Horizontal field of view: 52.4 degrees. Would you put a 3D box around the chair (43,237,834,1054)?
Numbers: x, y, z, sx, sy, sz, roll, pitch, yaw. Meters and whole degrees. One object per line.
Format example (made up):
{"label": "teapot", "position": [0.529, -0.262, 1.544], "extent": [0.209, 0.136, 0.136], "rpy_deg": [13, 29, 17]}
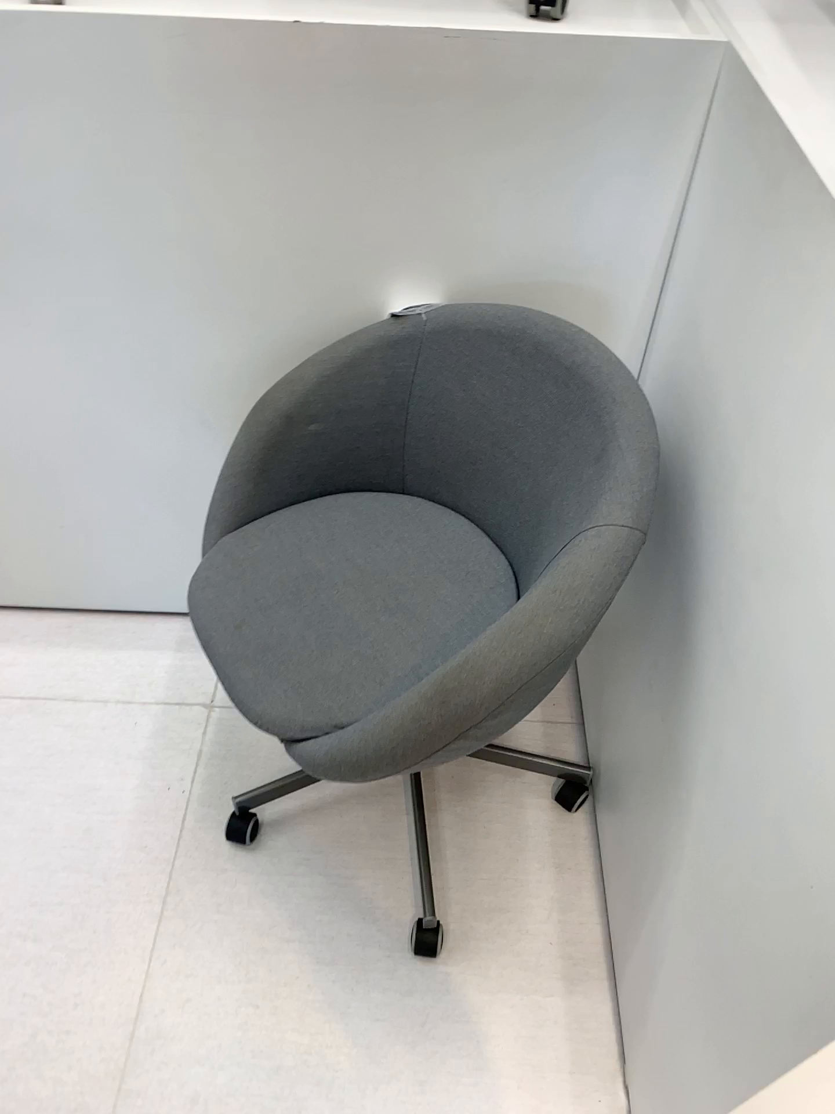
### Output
{"label": "chair", "position": [-0.027, 0.122, 1.333], "extent": [0.711, 0.827, 0.732], "rpy_deg": [-20, 51, -20]}
